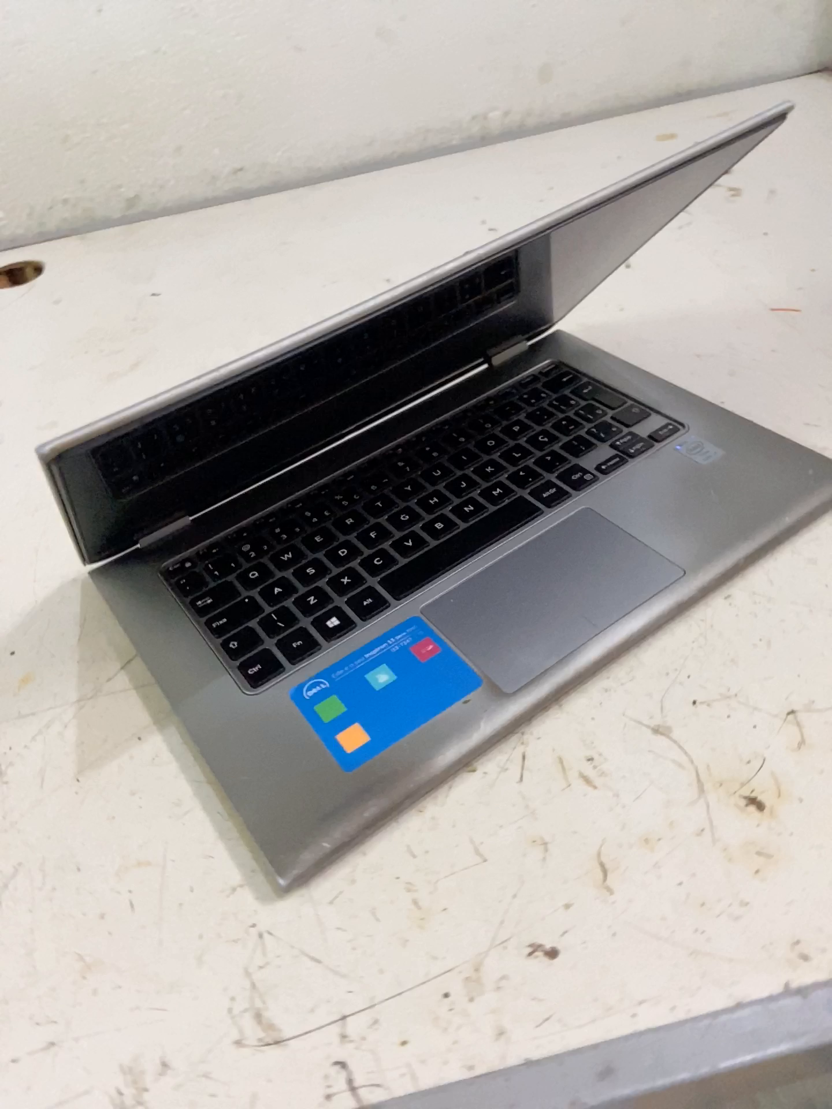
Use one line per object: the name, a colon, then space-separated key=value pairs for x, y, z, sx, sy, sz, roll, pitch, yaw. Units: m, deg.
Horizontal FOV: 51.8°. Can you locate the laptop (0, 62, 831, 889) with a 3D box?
laptop: x=0.012 y=-0.072 z=0.379 sx=0.327 sy=0.155 sz=0.219 roll=-31 pitch=46 yaw=-20
